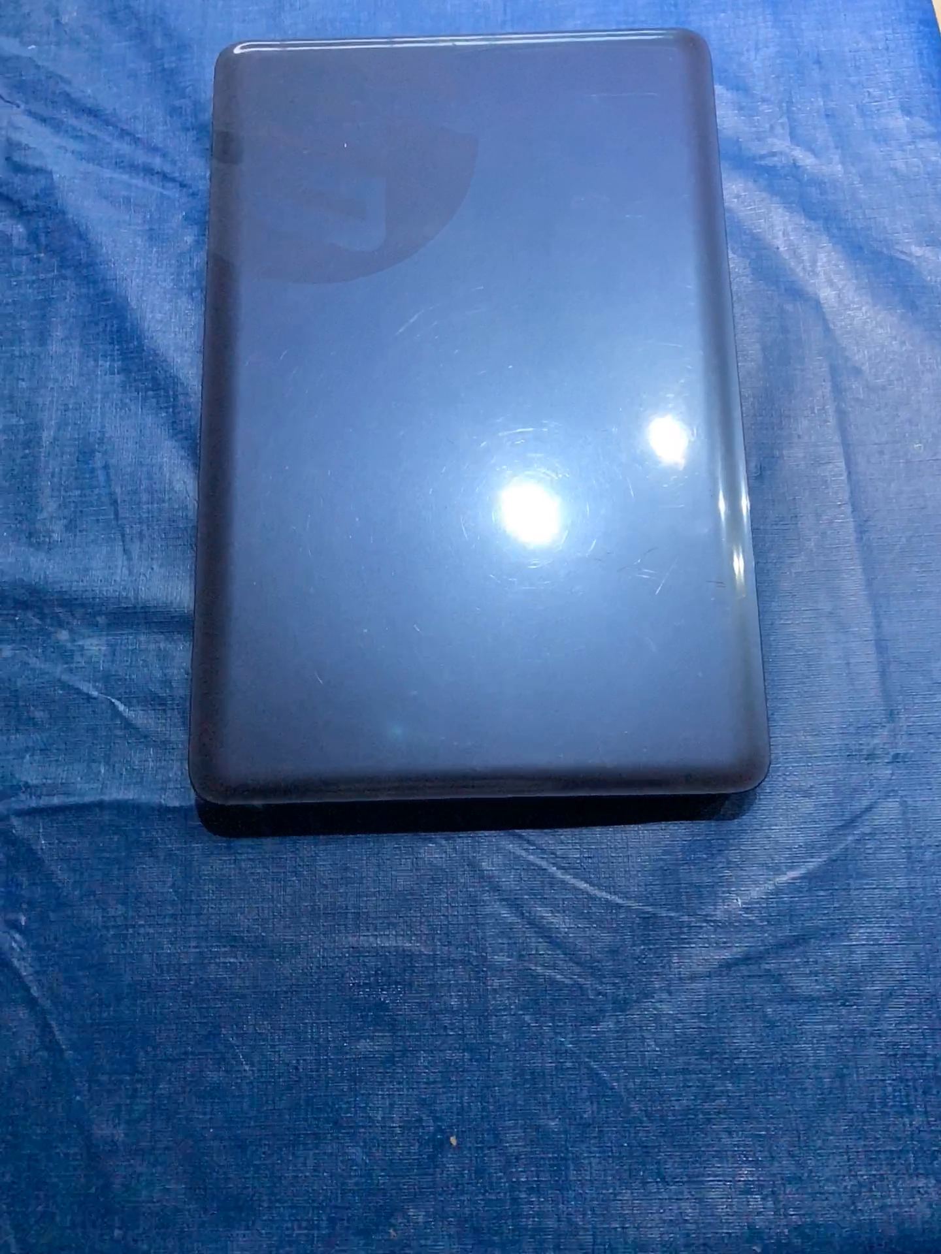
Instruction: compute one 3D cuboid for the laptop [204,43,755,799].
[{"bbox_3d":[0.000,-0.108,0.450,0.235,0.009,0.364,-1,79,0],"label":"laptop"}]
